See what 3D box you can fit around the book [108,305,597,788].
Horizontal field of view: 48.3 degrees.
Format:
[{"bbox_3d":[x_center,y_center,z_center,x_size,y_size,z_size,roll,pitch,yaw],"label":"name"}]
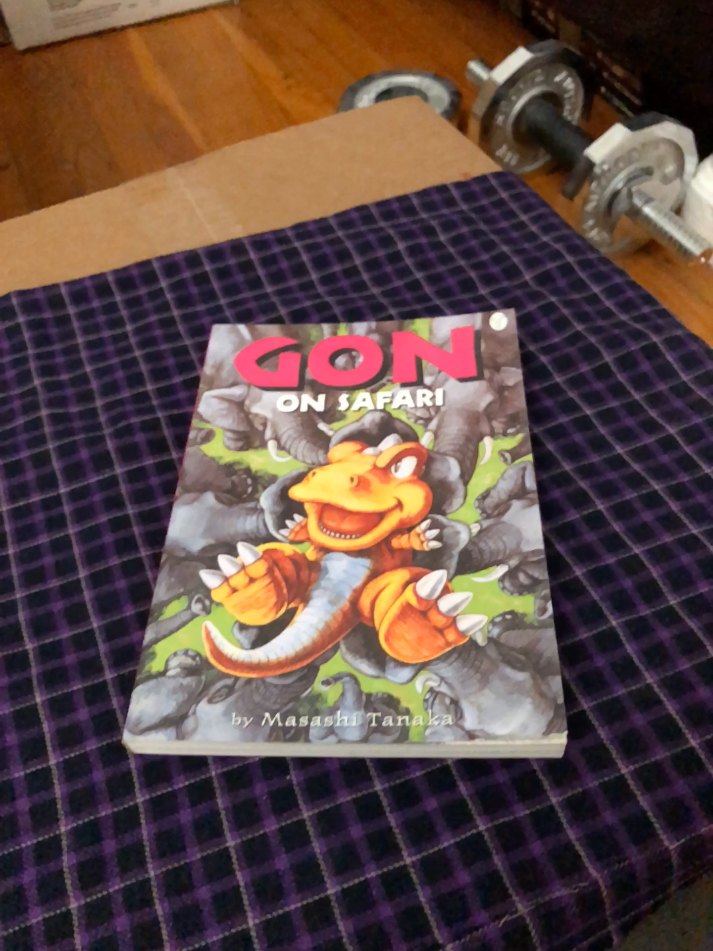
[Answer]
[{"bbox_3d":[0.002,0.011,0.316,0.150,0.020,0.211,0,52,4],"label":"book"}]
